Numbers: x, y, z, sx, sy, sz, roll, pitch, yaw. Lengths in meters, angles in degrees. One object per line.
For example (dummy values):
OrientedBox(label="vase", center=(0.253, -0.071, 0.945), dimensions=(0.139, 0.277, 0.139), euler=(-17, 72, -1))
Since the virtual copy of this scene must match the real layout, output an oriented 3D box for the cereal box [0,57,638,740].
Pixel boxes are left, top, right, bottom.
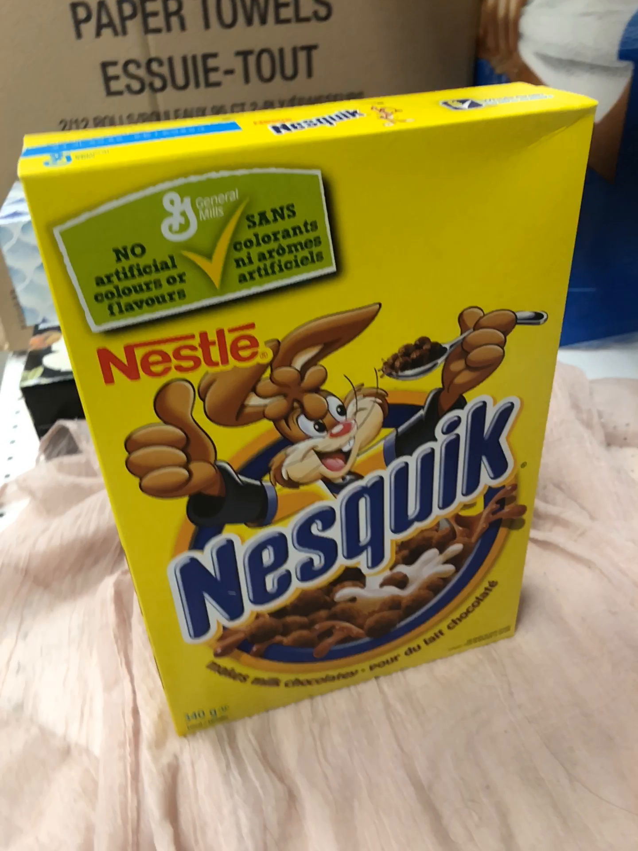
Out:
OrientedBox(label="cereal box", center=(0.006, 0.003, 0.301), dimensions=(0.200, 0.259, 0.060), euler=(-12, 36, -11))
